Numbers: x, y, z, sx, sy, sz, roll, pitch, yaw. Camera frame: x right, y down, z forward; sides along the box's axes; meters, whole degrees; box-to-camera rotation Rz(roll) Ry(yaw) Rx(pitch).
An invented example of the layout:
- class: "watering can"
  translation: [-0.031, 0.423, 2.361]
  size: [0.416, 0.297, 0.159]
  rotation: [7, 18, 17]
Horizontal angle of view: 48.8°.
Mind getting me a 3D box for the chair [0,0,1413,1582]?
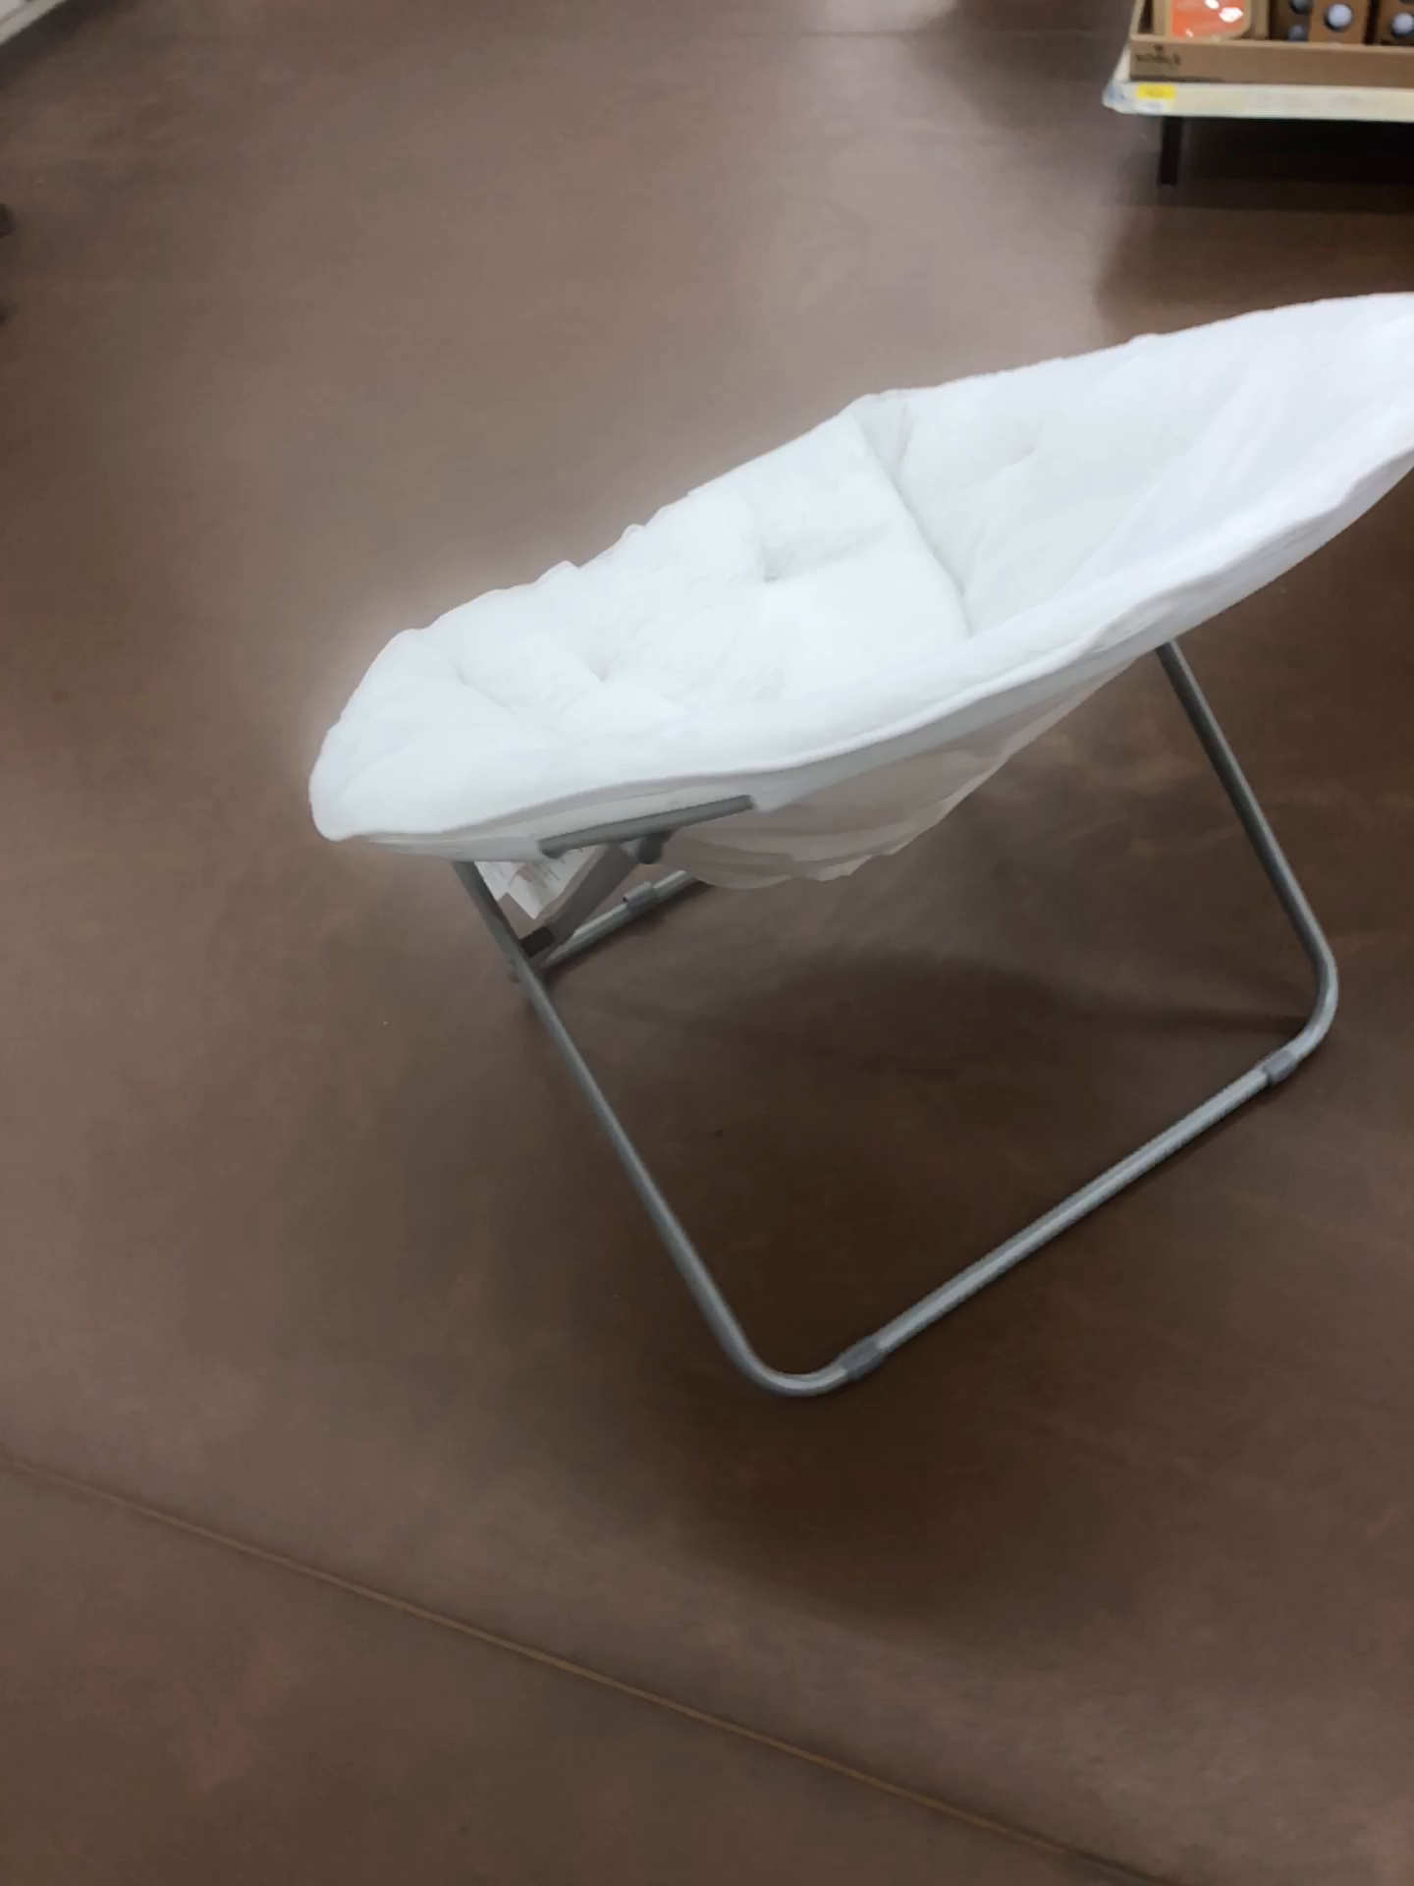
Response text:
- class: "chair"
  translation: [0.064, -0.192, 1.122]
  size: [0.760, 0.648, 0.752]
  rotation: [-30, 51, -16]
